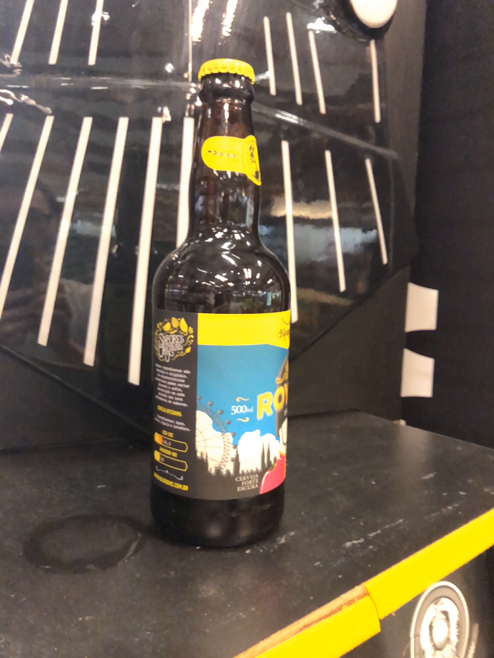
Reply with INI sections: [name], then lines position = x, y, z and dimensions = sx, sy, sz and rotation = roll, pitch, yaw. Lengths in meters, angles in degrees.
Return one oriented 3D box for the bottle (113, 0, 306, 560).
[bottle]
position = -0.015, -0.025, 0.275
dimensions = 0.070, 0.240, 0.080
rotation = 3, 6, 14
